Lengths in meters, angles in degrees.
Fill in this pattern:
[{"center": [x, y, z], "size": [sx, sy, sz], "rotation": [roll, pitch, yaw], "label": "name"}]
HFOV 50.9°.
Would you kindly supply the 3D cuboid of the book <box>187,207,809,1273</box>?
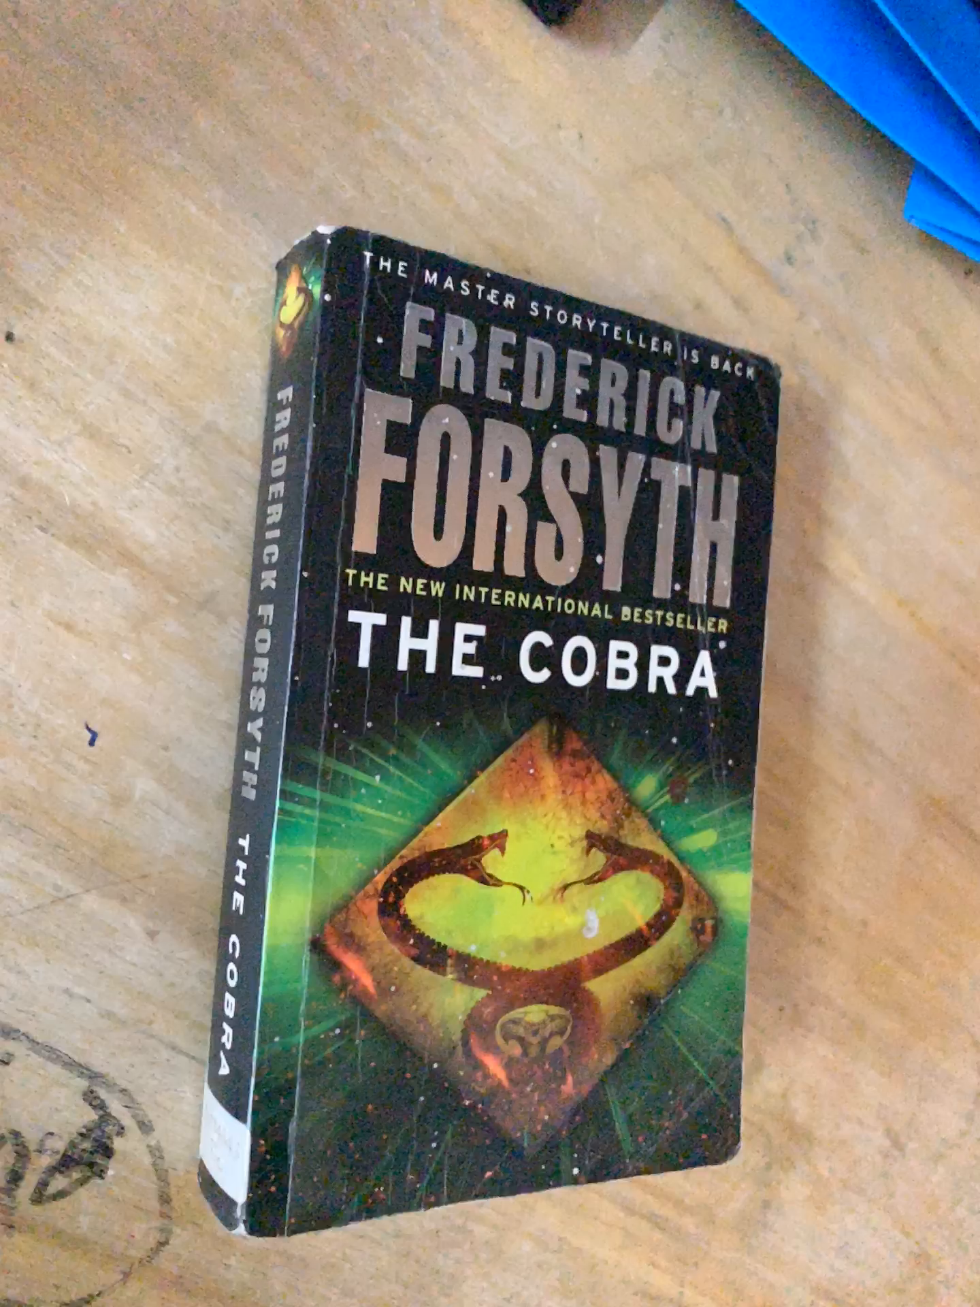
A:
[{"center": [0.004, 0.015, 0.196], "size": [0.100, 0.040, 0.160], "rotation": [5, 87, -29], "label": "book"}]
